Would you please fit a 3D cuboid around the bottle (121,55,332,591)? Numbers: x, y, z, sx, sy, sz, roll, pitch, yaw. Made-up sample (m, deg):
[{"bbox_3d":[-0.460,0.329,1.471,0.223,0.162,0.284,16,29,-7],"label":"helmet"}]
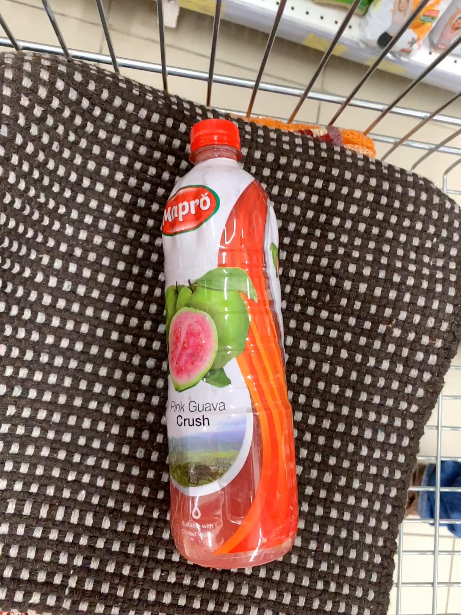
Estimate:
[{"bbox_3d":[-0.004,0.005,0.259,0.070,0.070,0.240,10,73,-56],"label":"bottle"}]
